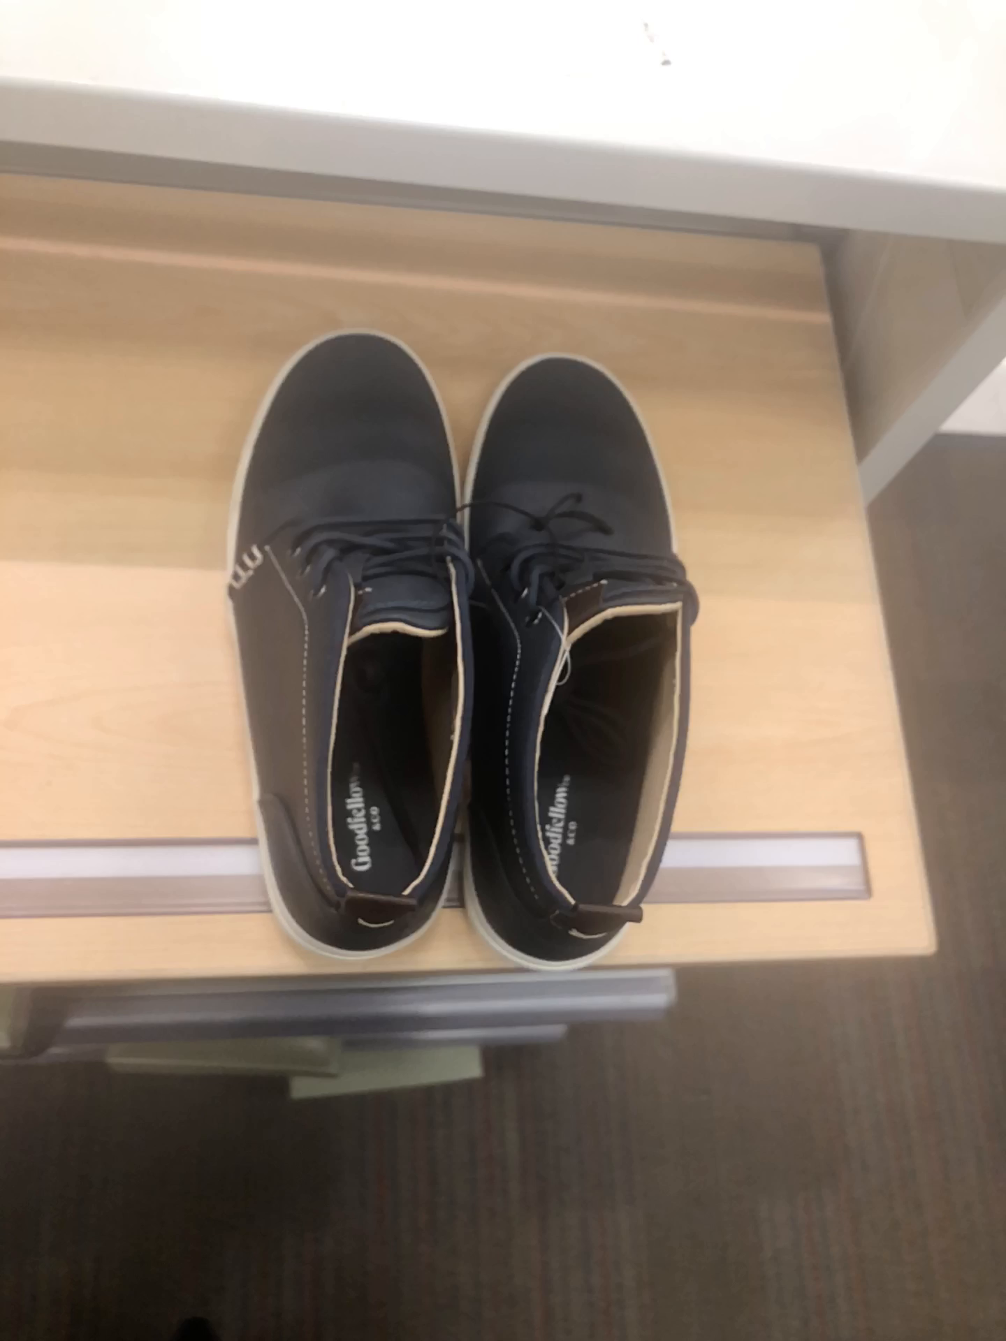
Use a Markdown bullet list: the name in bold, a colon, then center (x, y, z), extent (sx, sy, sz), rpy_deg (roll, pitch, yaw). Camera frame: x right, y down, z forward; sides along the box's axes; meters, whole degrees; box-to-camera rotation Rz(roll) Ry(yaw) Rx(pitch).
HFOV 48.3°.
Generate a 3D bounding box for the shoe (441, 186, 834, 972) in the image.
- **shoe**: center (0.039, -0.028, 0.432), extent (0.106, 0.125, 0.268), rpy_deg (3, 70, -8)

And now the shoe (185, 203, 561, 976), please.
- **shoe**: center (-0.054, -0.026, 0.421), extent (0.109, 0.114, 0.258), rpy_deg (-1, 71, -10)
